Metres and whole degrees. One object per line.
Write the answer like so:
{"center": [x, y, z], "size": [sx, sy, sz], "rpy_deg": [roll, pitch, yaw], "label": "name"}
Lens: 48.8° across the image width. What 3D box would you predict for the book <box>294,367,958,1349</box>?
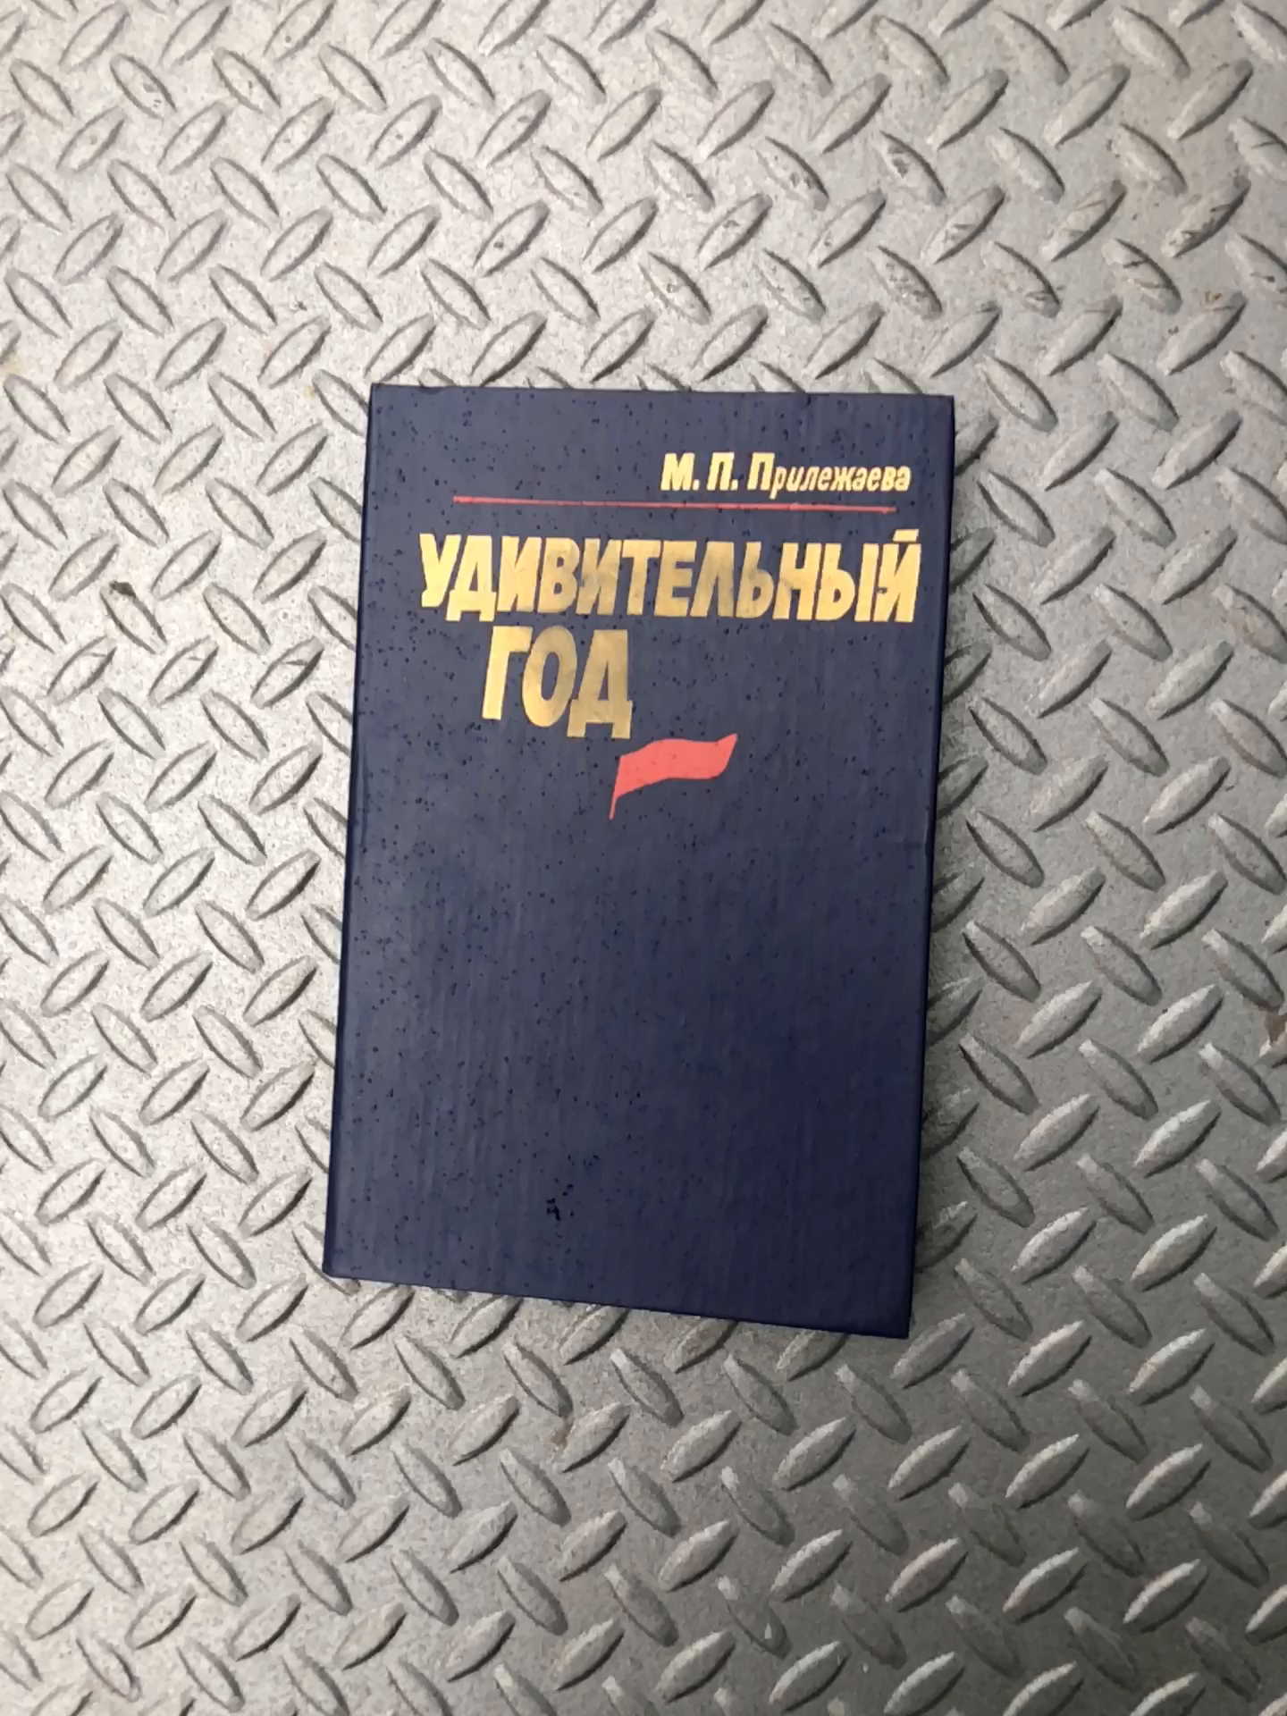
{"center": [-0.004, -0.002, 0.320], "size": [0.130, 0.040, 0.200], "rpy_deg": [4, 91, 7], "label": "book"}
